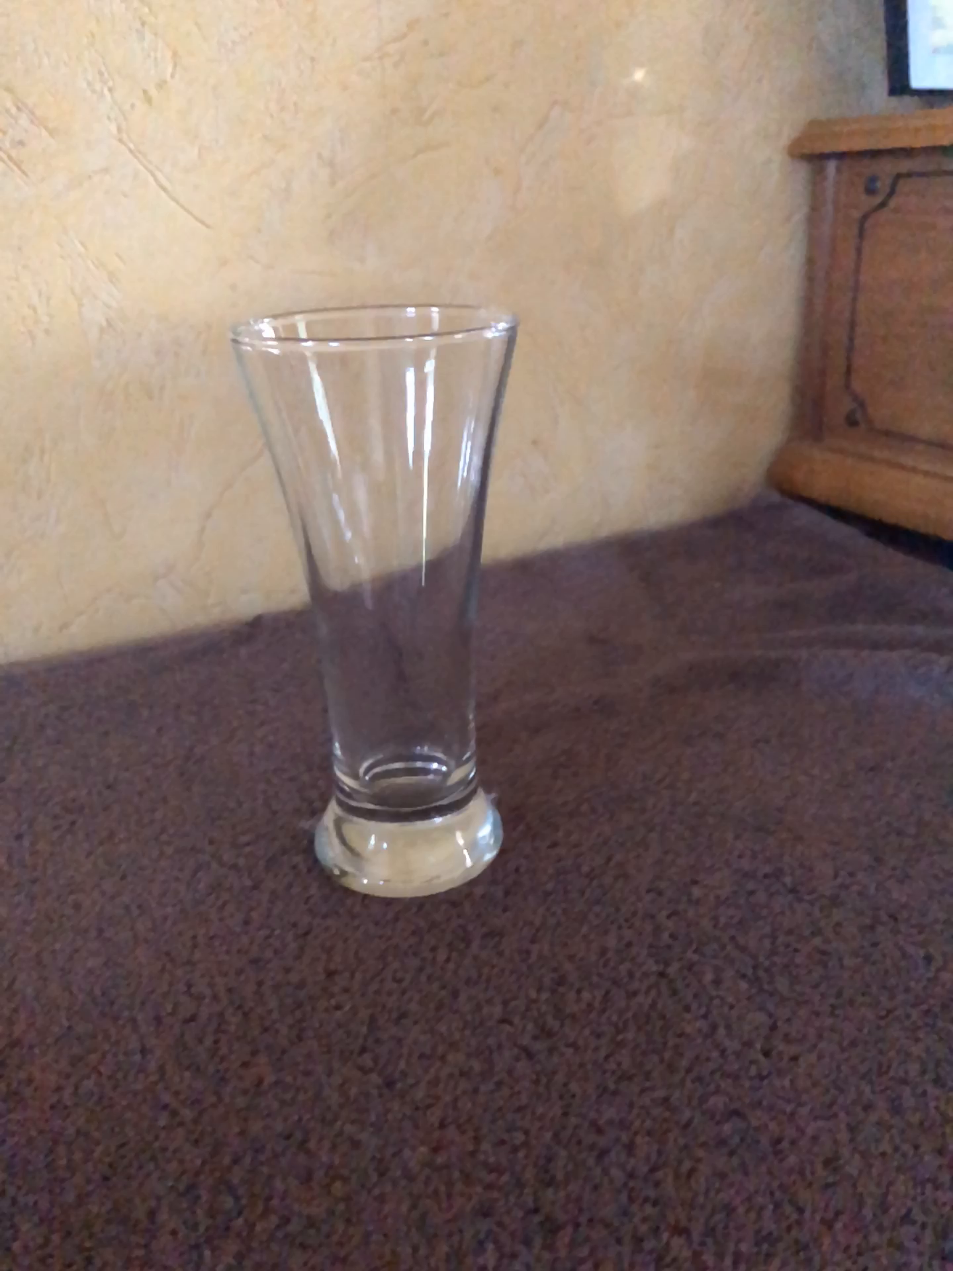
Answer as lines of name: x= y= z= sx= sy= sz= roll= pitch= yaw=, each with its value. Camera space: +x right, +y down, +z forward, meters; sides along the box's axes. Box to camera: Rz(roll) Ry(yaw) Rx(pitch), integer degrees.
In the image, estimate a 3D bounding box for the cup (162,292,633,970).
cup: x=-0.015 y=-0.009 z=0.283 sx=0.080 sy=0.149 sz=0.080 roll=-2 pitch=23 yaw=1
